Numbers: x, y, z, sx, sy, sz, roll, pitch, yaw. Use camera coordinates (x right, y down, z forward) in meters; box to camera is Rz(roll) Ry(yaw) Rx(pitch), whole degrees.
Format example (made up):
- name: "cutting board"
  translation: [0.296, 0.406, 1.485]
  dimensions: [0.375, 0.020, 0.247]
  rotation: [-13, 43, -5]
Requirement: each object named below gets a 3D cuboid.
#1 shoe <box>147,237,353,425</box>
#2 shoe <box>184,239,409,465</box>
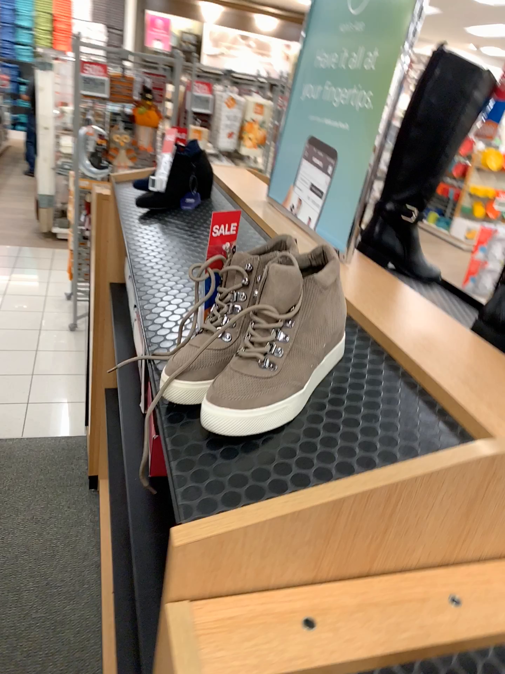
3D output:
- name: "shoe"
  translation: [0.004, -0.024, 0.661]
  dimensions: [0.100, 0.160, 0.261]
  rotation: [23, 29, 38]
- name: "shoe"
  translation: [0.062, -0.006, 0.600]
  dimensions: [0.100, 0.160, 0.291]
  rotation: [20, 28, 34]
